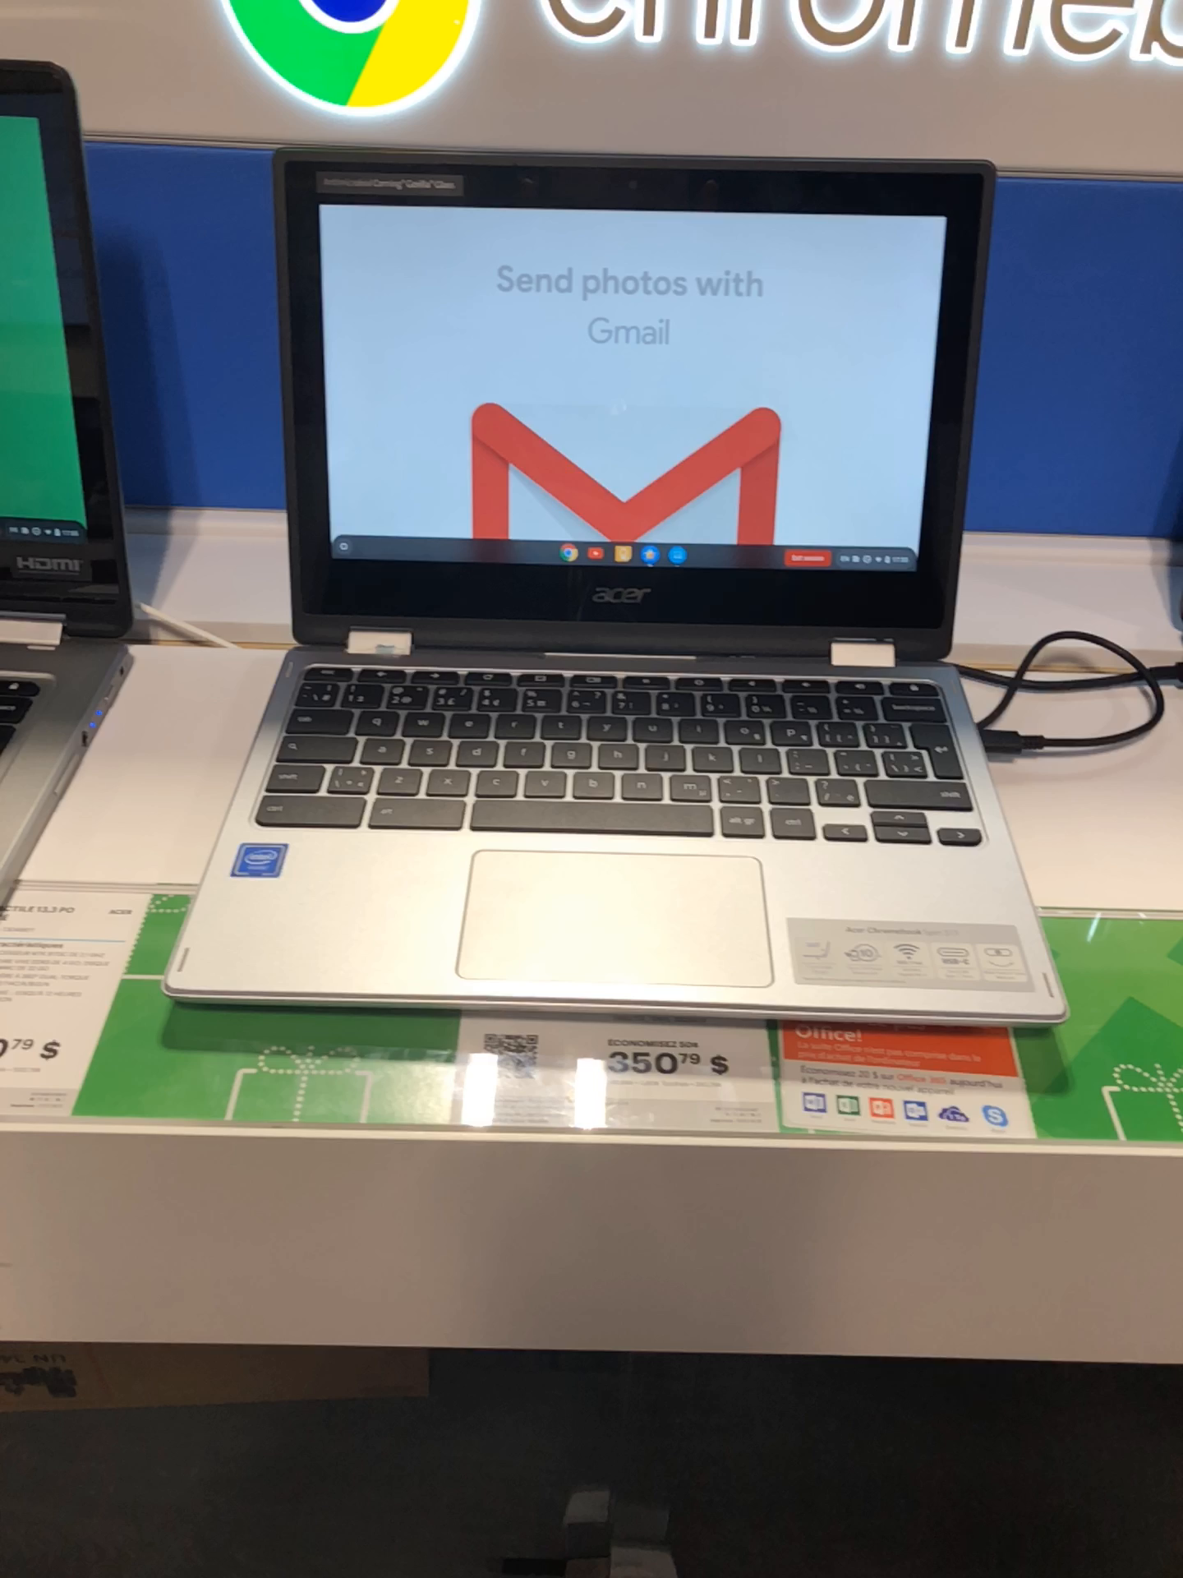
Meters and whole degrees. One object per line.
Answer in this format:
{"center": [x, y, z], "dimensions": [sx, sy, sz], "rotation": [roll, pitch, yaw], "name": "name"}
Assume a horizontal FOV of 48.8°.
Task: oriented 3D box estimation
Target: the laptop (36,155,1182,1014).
{"center": [0.013, -0.088, 0.465], "dimensions": [0.284, 0.181, 0.274], "rotation": [2, 39, -1], "name": "laptop"}
